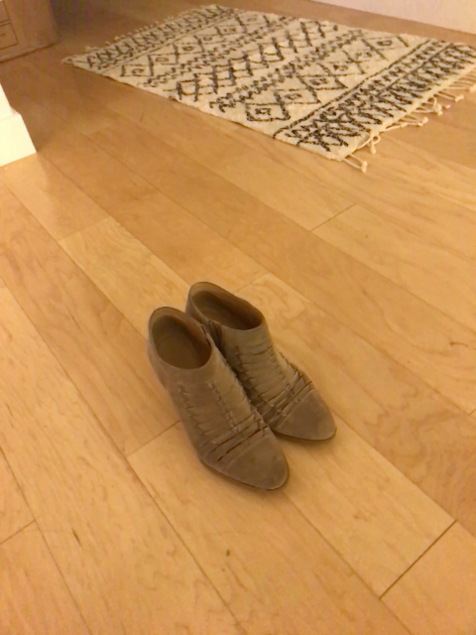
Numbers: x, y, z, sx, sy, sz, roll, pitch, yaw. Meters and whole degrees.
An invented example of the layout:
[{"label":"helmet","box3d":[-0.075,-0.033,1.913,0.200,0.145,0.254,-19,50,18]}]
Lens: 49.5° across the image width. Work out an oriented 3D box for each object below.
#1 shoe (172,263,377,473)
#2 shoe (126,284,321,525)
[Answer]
[{"label":"shoe","box3d":[0.040,0.056,0.688,0.100,0.119,0.271,-34,50,-23]},{"label":"shoe","box3d":[-0.023,0.099,0.665,0.110,0.129,0.271,-28,48,-18]}]
